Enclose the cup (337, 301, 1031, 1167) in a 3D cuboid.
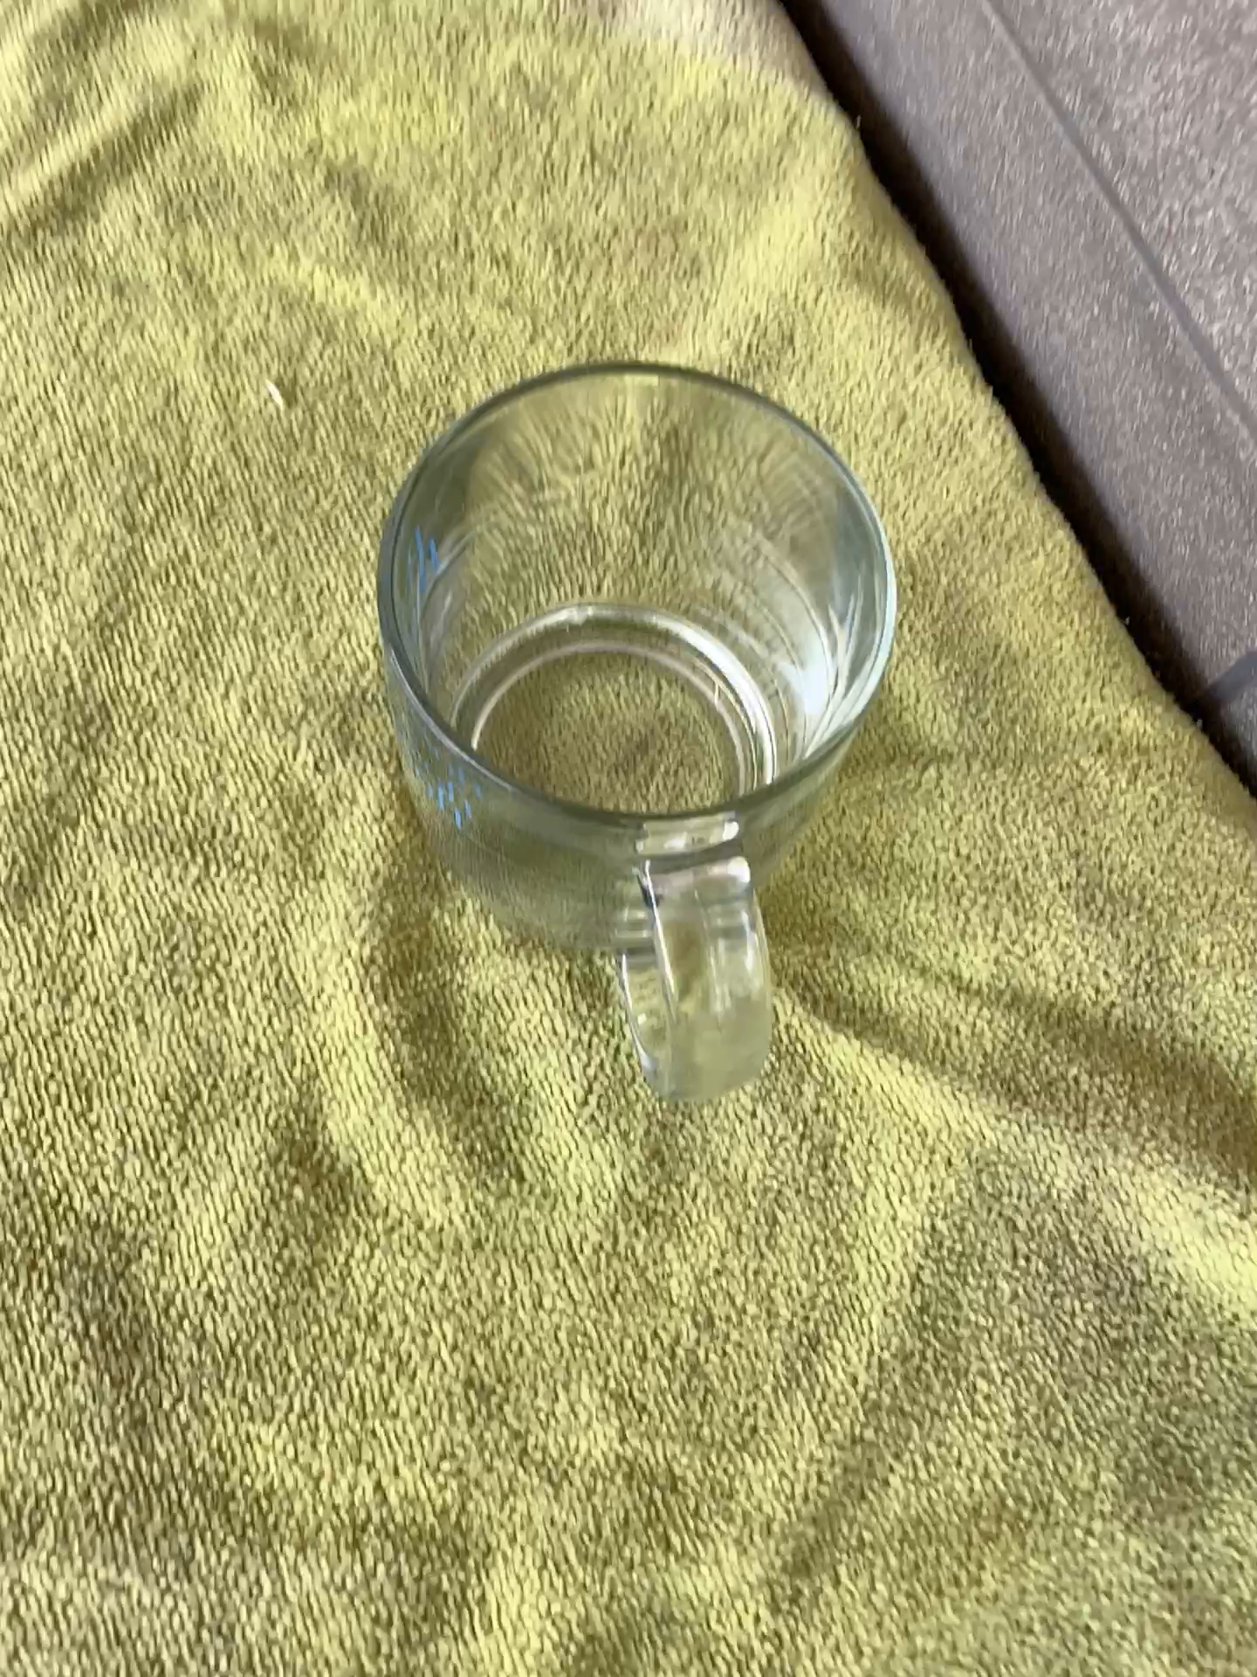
[{"bbox_3d":[0.001,-0.012,0.242,0.080,0.100,0.120,-10,72,-9],"label":"cup"}]
